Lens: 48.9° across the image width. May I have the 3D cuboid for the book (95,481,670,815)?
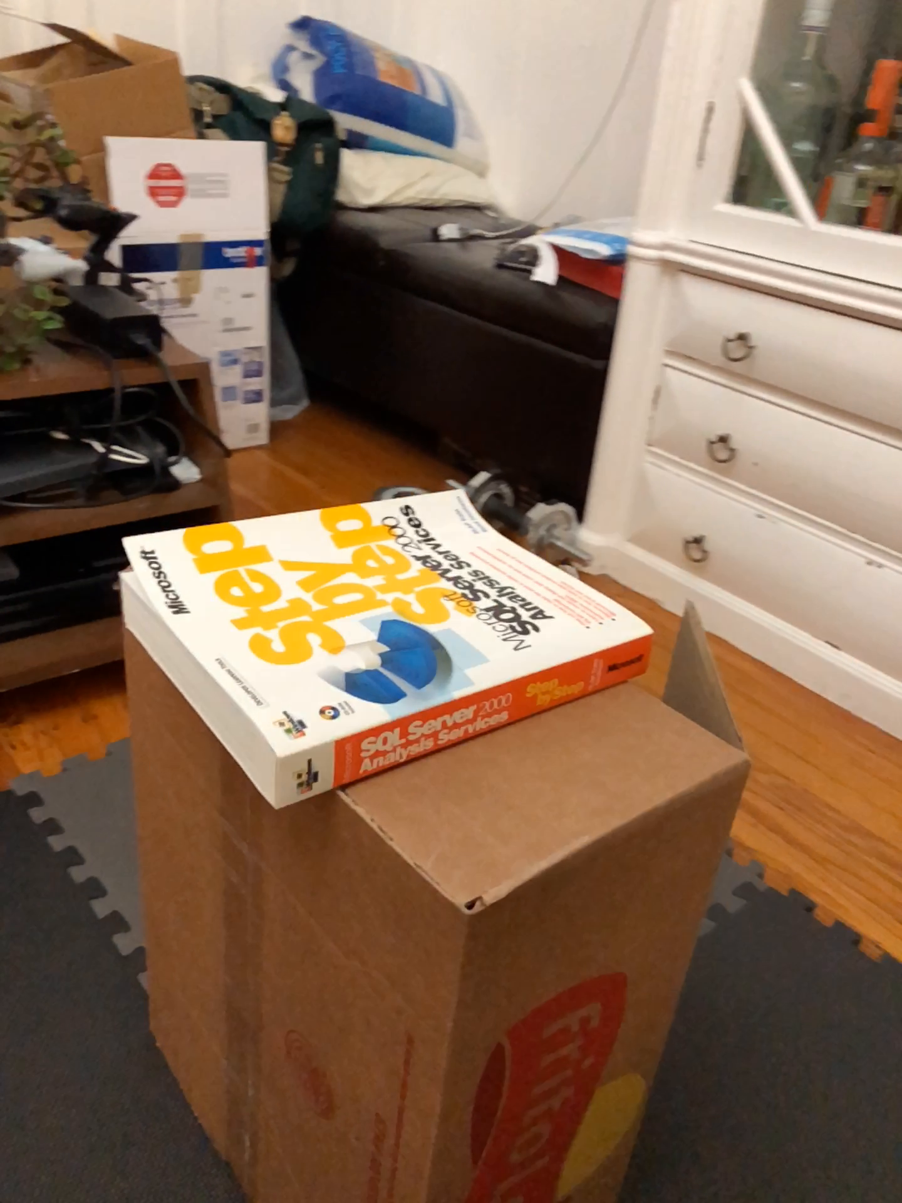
[{"bbox_3d":[-0.038,0.004,0.549,0.241,0.050,0.201,-16,32,-37],"label":"book"}]
